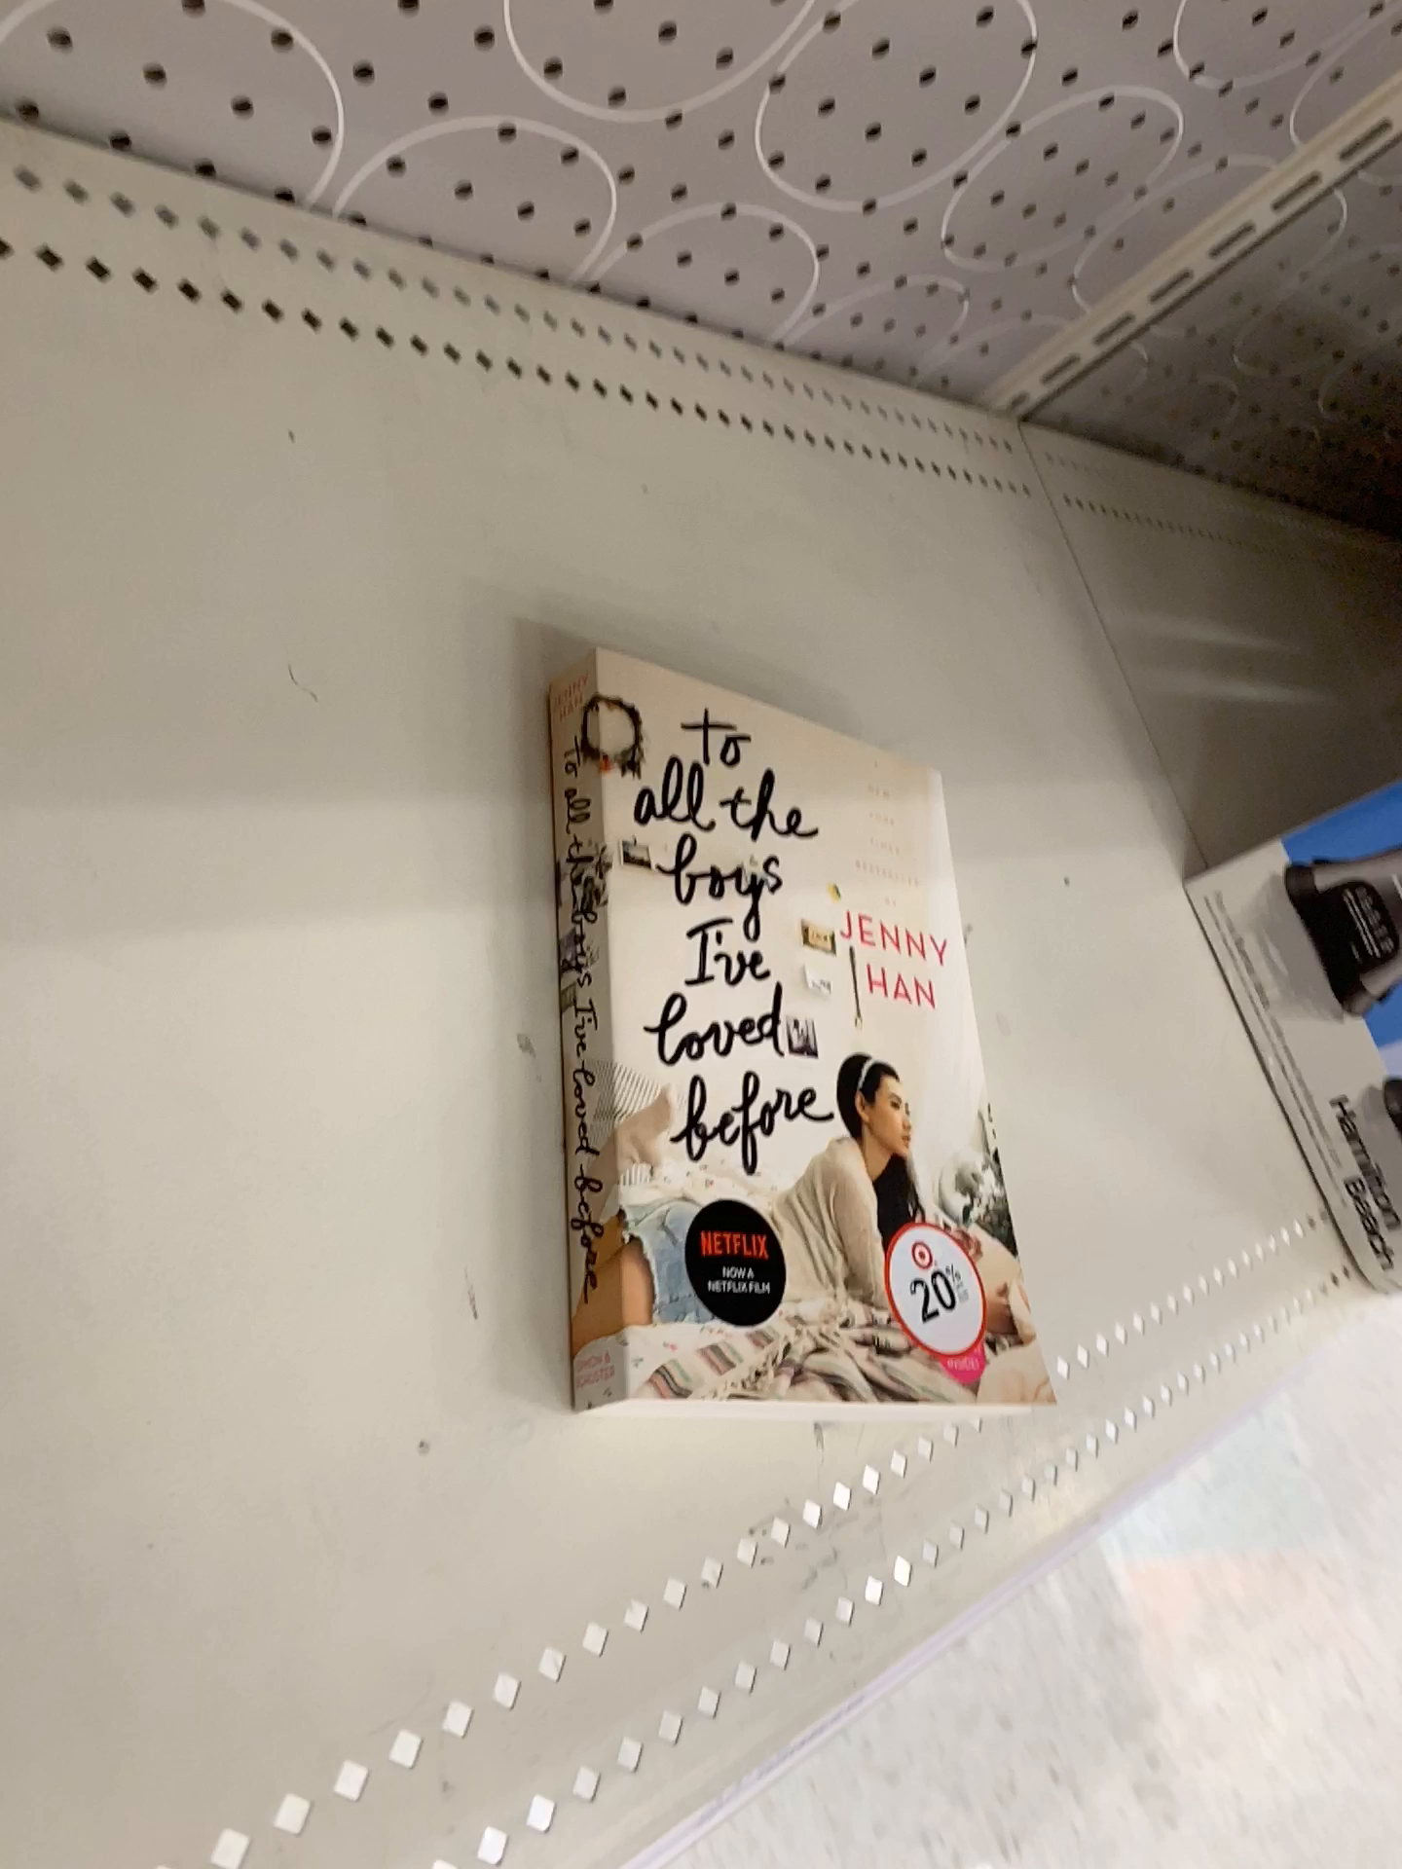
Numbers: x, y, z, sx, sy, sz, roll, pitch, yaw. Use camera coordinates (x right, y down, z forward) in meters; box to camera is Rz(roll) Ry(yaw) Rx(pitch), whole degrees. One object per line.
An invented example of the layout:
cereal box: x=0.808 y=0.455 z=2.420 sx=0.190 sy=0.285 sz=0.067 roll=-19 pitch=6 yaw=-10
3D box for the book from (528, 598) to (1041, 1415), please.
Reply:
book: x=0.022 y=0.025 z=0.416 sx=0.144 sy=0.034 sz=0.213 roll=15 pitch=59 yaw=-38
